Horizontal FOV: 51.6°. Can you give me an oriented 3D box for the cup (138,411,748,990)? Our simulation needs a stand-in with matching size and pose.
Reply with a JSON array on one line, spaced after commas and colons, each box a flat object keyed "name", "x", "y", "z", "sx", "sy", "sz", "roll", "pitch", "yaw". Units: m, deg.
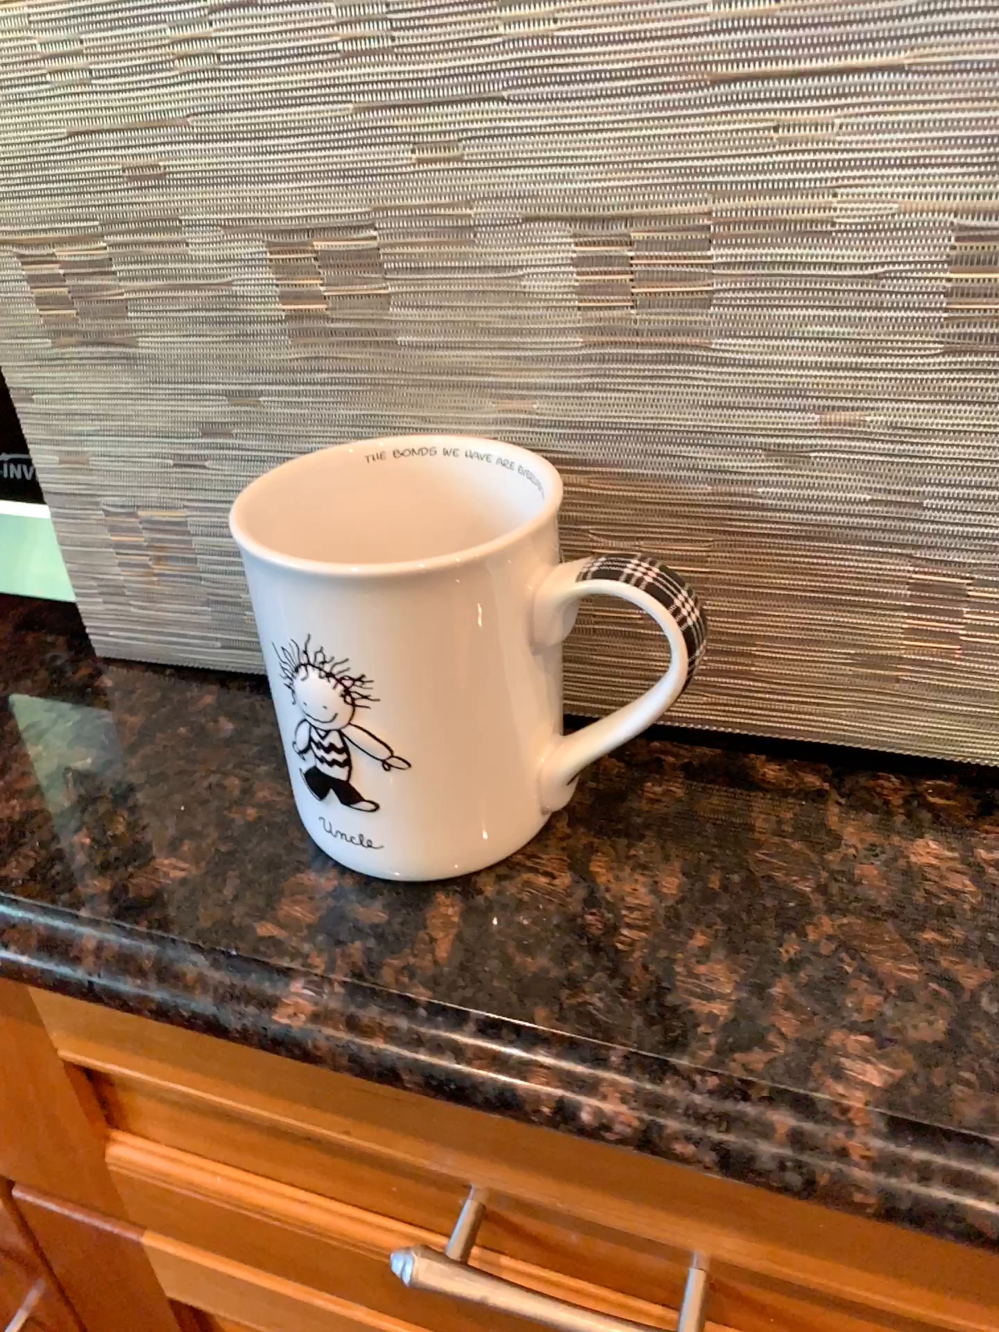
[{"name": "cup", "x": -0.008, "y": 0.000, "z": 0.303, "sx": 0.130, "sy": 0.109, "sz": 0.100, "roll": 11, "pitch": 35, "yaw": 23}]
